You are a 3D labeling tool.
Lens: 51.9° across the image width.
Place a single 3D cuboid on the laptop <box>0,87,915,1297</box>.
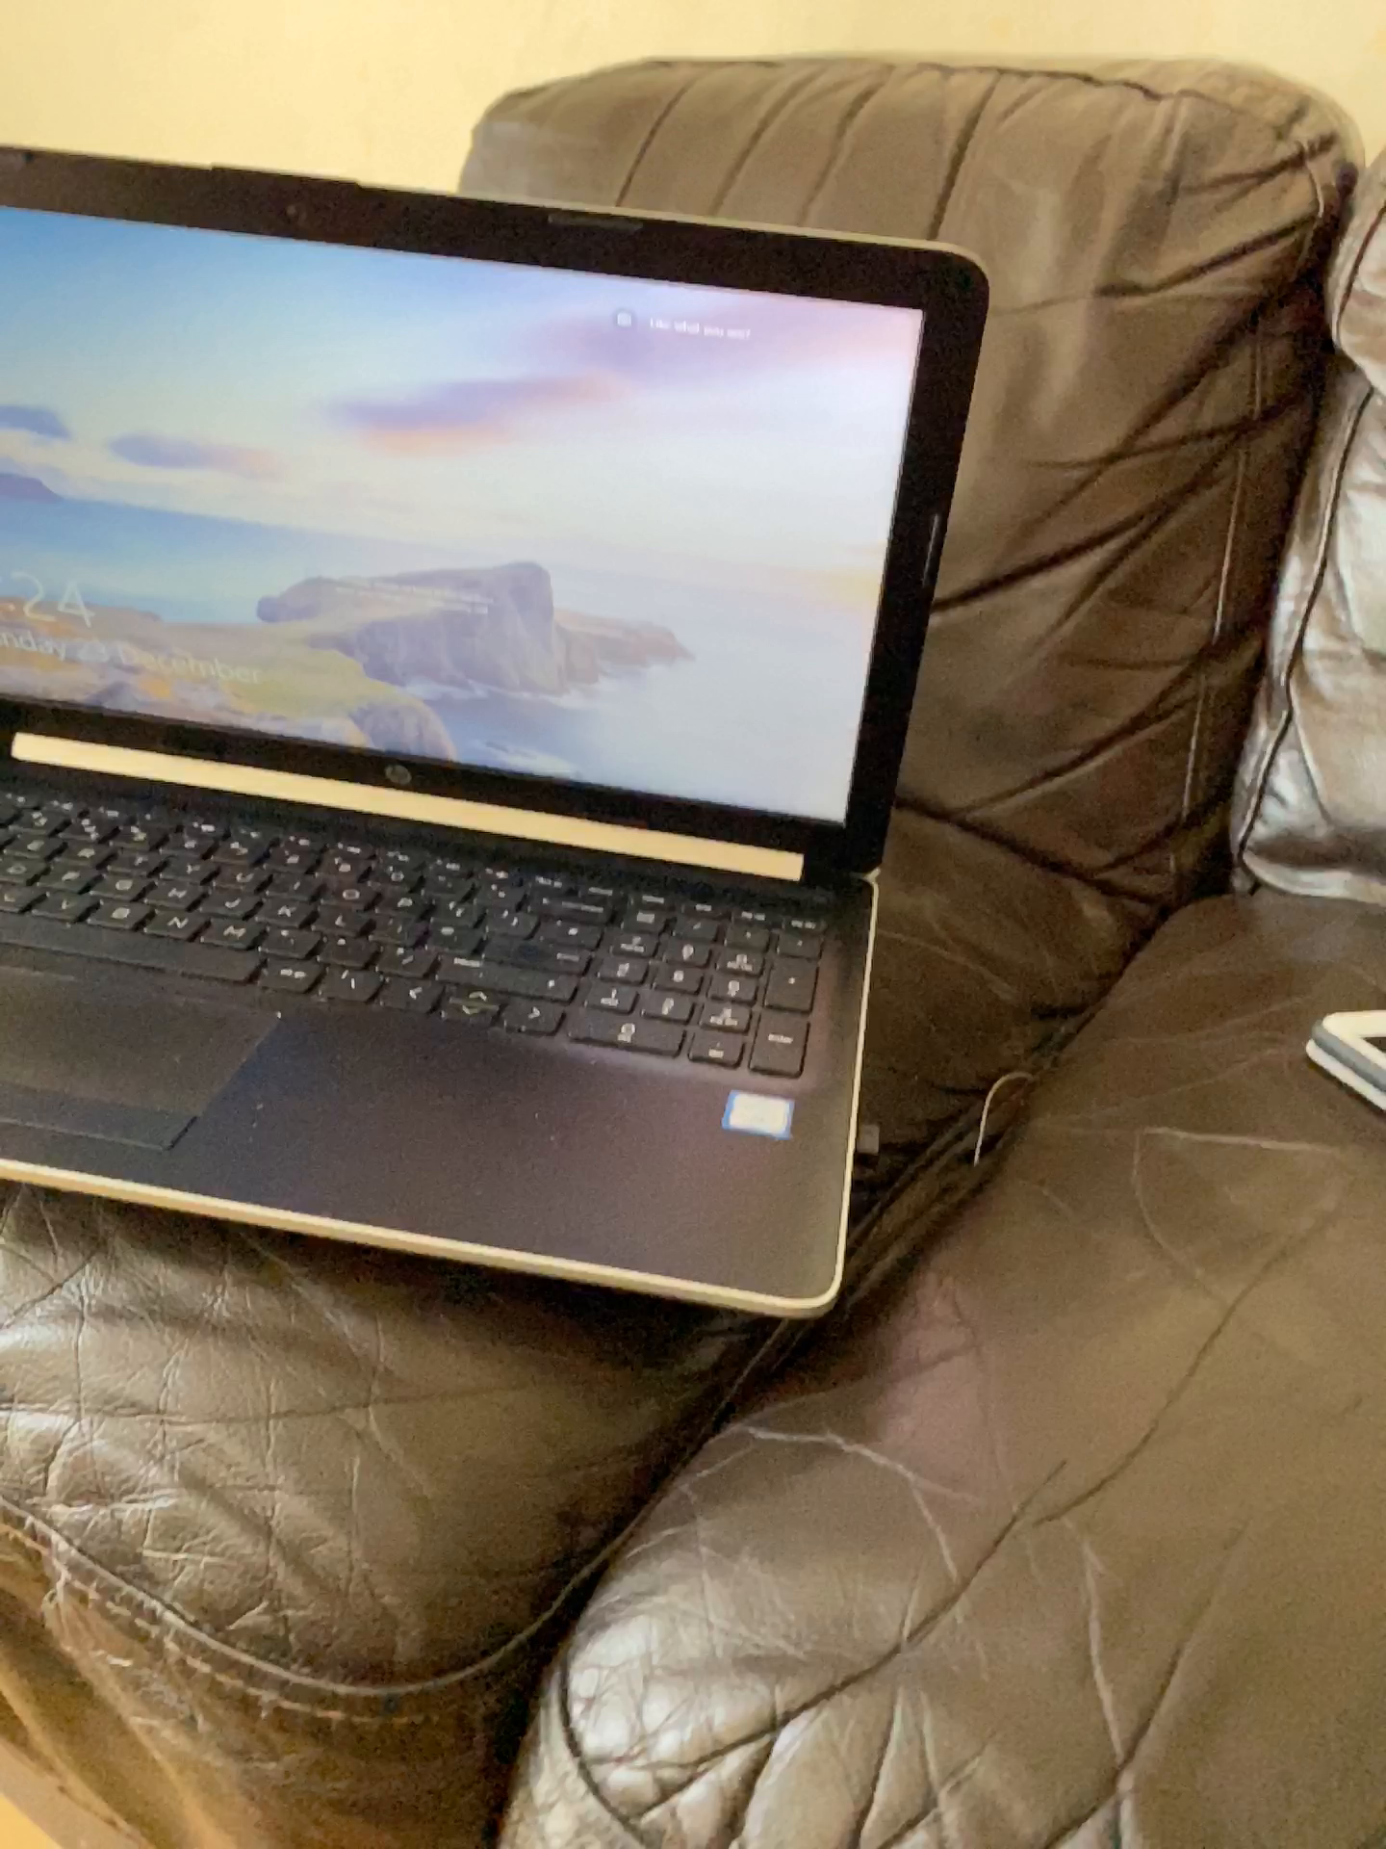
[{"bbox_3d":[-0.133,-0.091,0.410,0.371,0.211,0.238,8,26,7],"label":"laptop"}]
